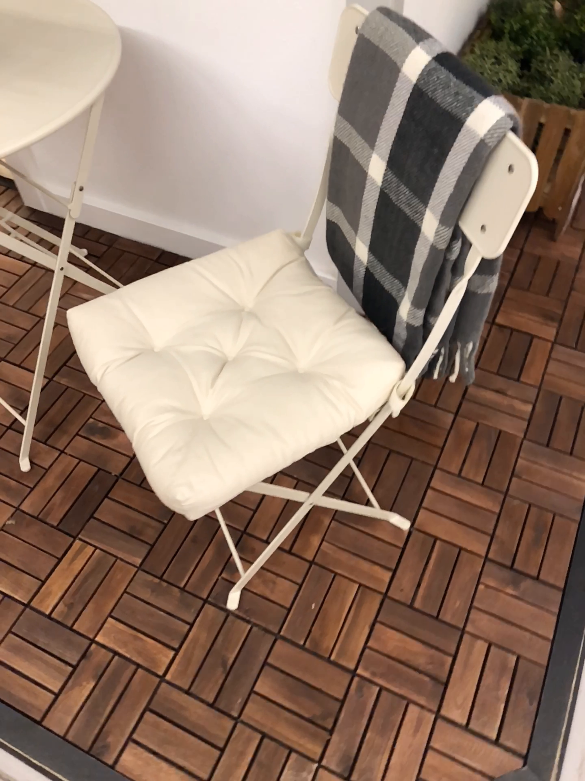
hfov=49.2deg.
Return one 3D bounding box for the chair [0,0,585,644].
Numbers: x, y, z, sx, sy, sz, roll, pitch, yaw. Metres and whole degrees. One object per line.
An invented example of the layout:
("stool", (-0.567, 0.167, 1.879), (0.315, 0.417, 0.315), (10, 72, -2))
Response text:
("chair", (-0.027, -0.081, 0.926), (0.510, 0.736, 0.492), (-21, 55, -13))
